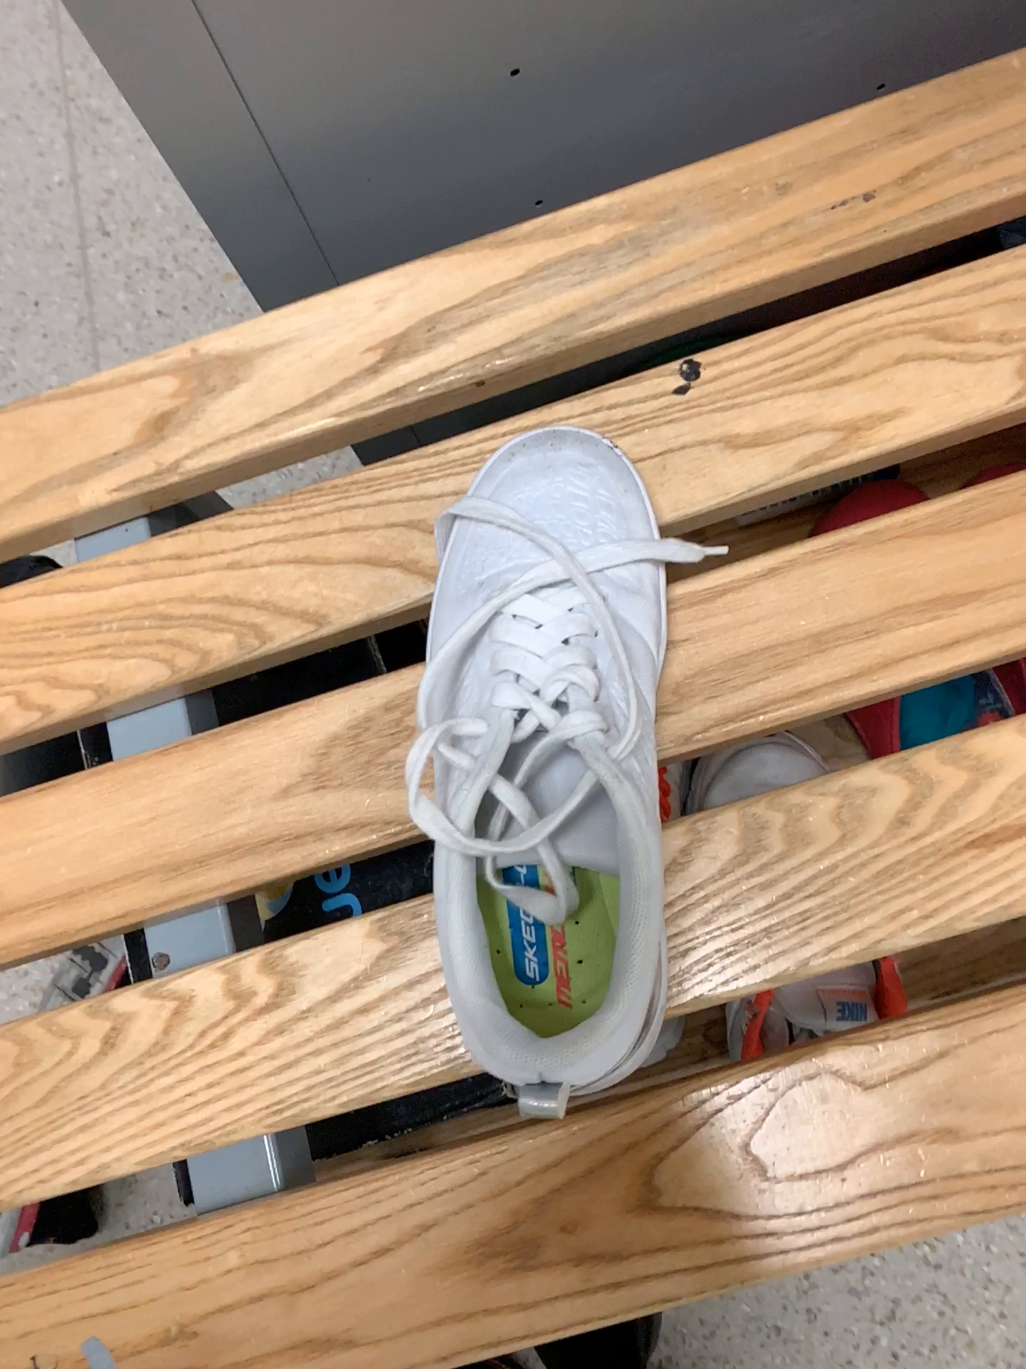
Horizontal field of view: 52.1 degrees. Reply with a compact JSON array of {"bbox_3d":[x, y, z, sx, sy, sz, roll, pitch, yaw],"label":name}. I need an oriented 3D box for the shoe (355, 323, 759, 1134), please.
[{"bbox_3d":[0.012,0.013,0.368,0.099,0.076,0.251,-8,74,7],"label":"shoe"}]
